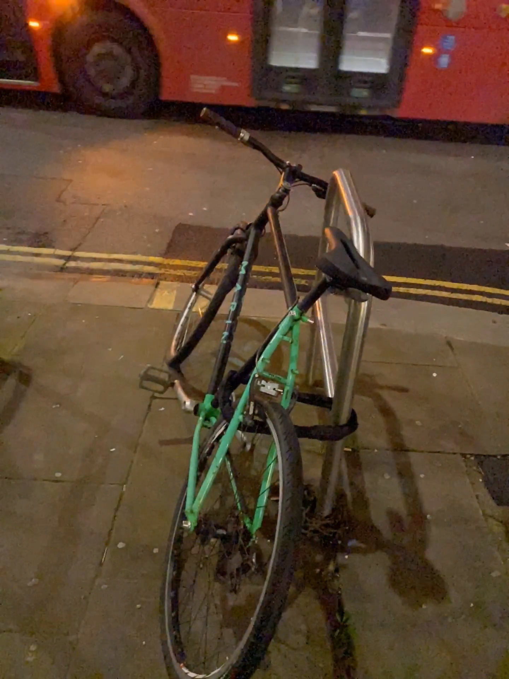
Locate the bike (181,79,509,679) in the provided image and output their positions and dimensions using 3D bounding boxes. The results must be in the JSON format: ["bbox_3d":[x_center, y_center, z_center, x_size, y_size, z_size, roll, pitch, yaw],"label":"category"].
[{"bbox_3d":[0.161,-0.044,1.514,0.638,1.014,1.697,-1,36,-5],"label":"bike"}]
